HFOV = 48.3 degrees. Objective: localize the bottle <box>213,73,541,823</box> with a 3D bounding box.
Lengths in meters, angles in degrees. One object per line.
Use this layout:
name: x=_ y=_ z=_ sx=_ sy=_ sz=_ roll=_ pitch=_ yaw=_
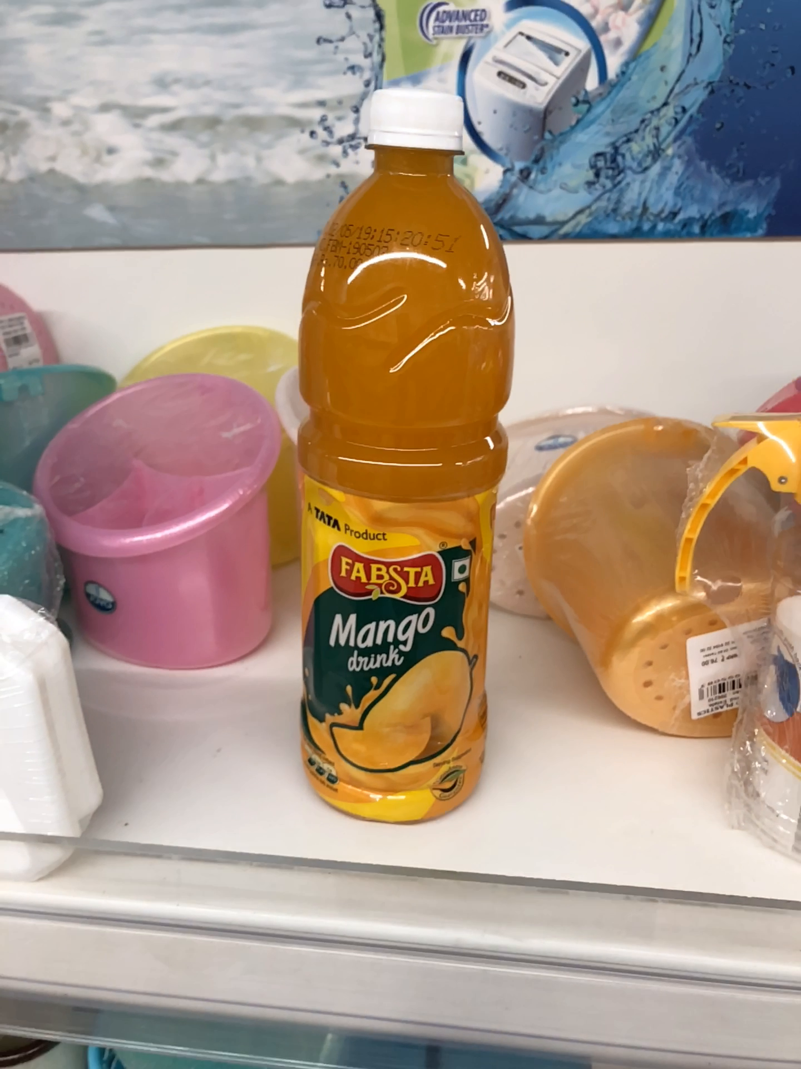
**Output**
bottle: x=-0.001 y=-0.023 z=0.332 sx=0.090 sy=0.258 sz=0.081 roll=0 pitch=24 yaw=4
